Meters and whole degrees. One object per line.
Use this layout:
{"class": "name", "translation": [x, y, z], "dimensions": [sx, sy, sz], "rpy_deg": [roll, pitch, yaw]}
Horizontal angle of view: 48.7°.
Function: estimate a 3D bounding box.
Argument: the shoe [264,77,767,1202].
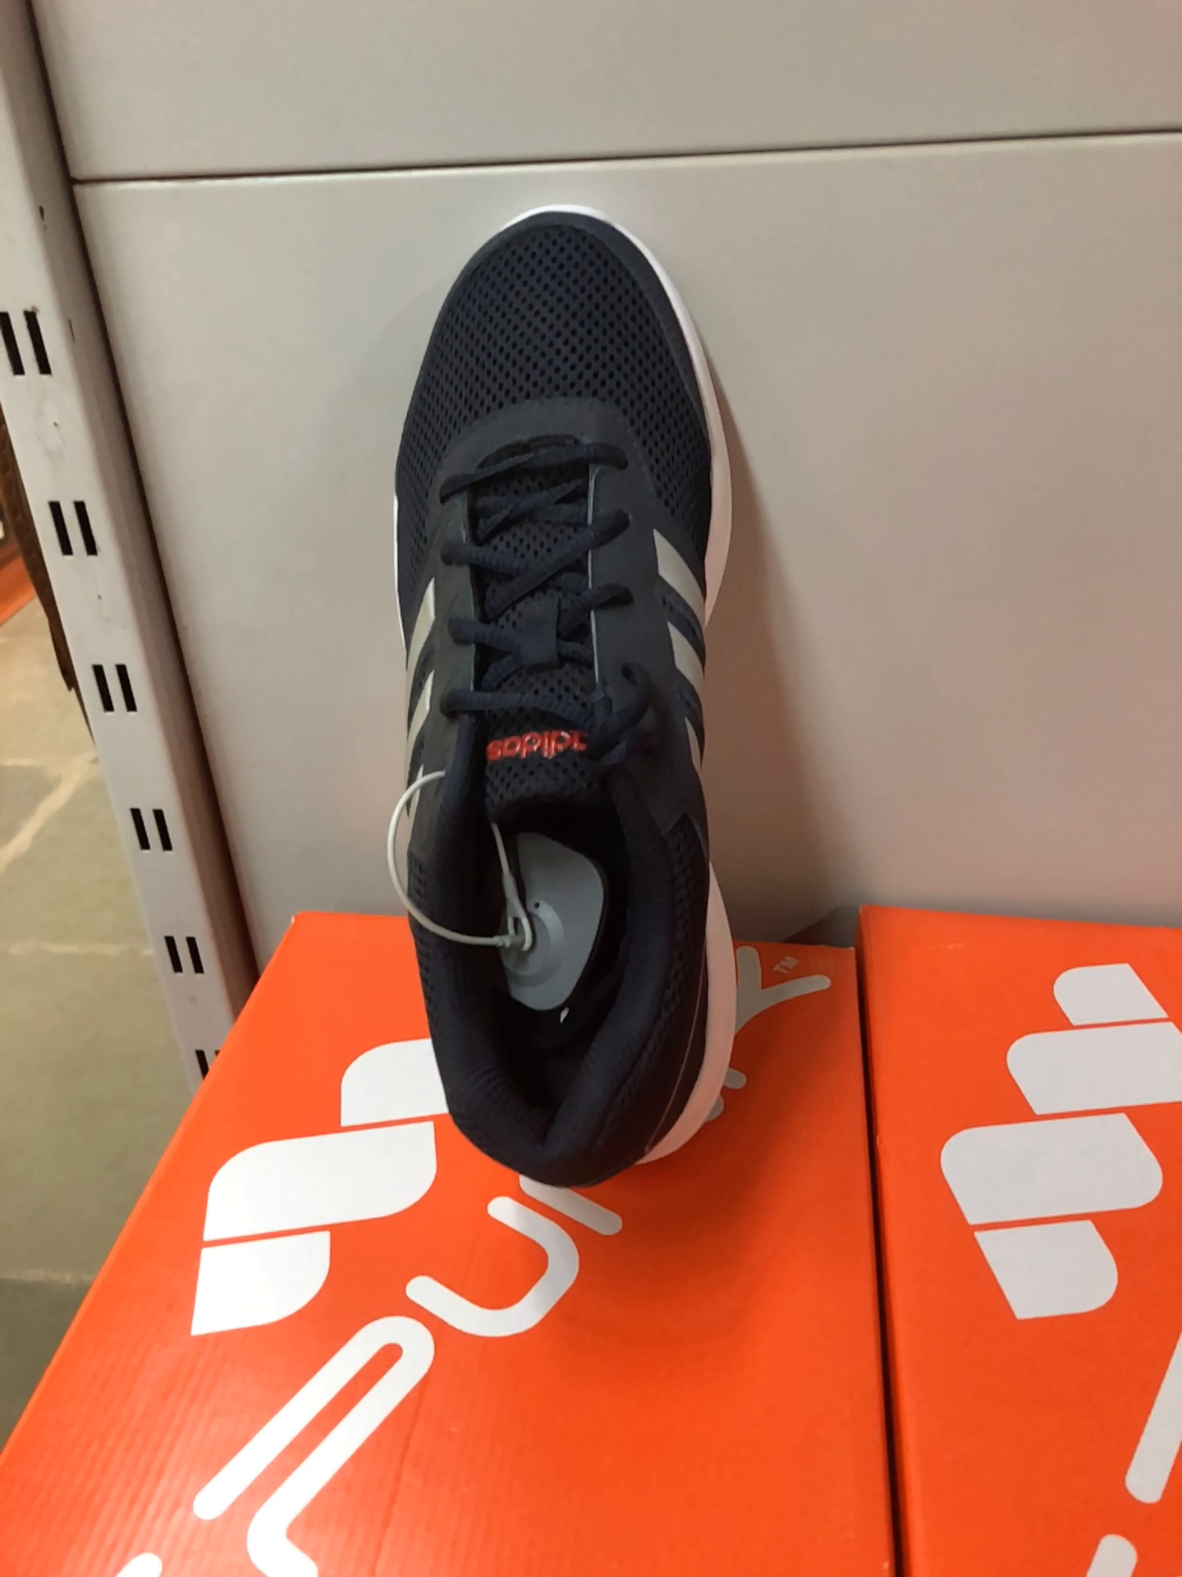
{"class": "shoe", "translation": [-0.019, -0.035, 0.361], "dimensions": [0.110, 0.272, 0.088], "rpy_deg": [-4, -9, 11]}
